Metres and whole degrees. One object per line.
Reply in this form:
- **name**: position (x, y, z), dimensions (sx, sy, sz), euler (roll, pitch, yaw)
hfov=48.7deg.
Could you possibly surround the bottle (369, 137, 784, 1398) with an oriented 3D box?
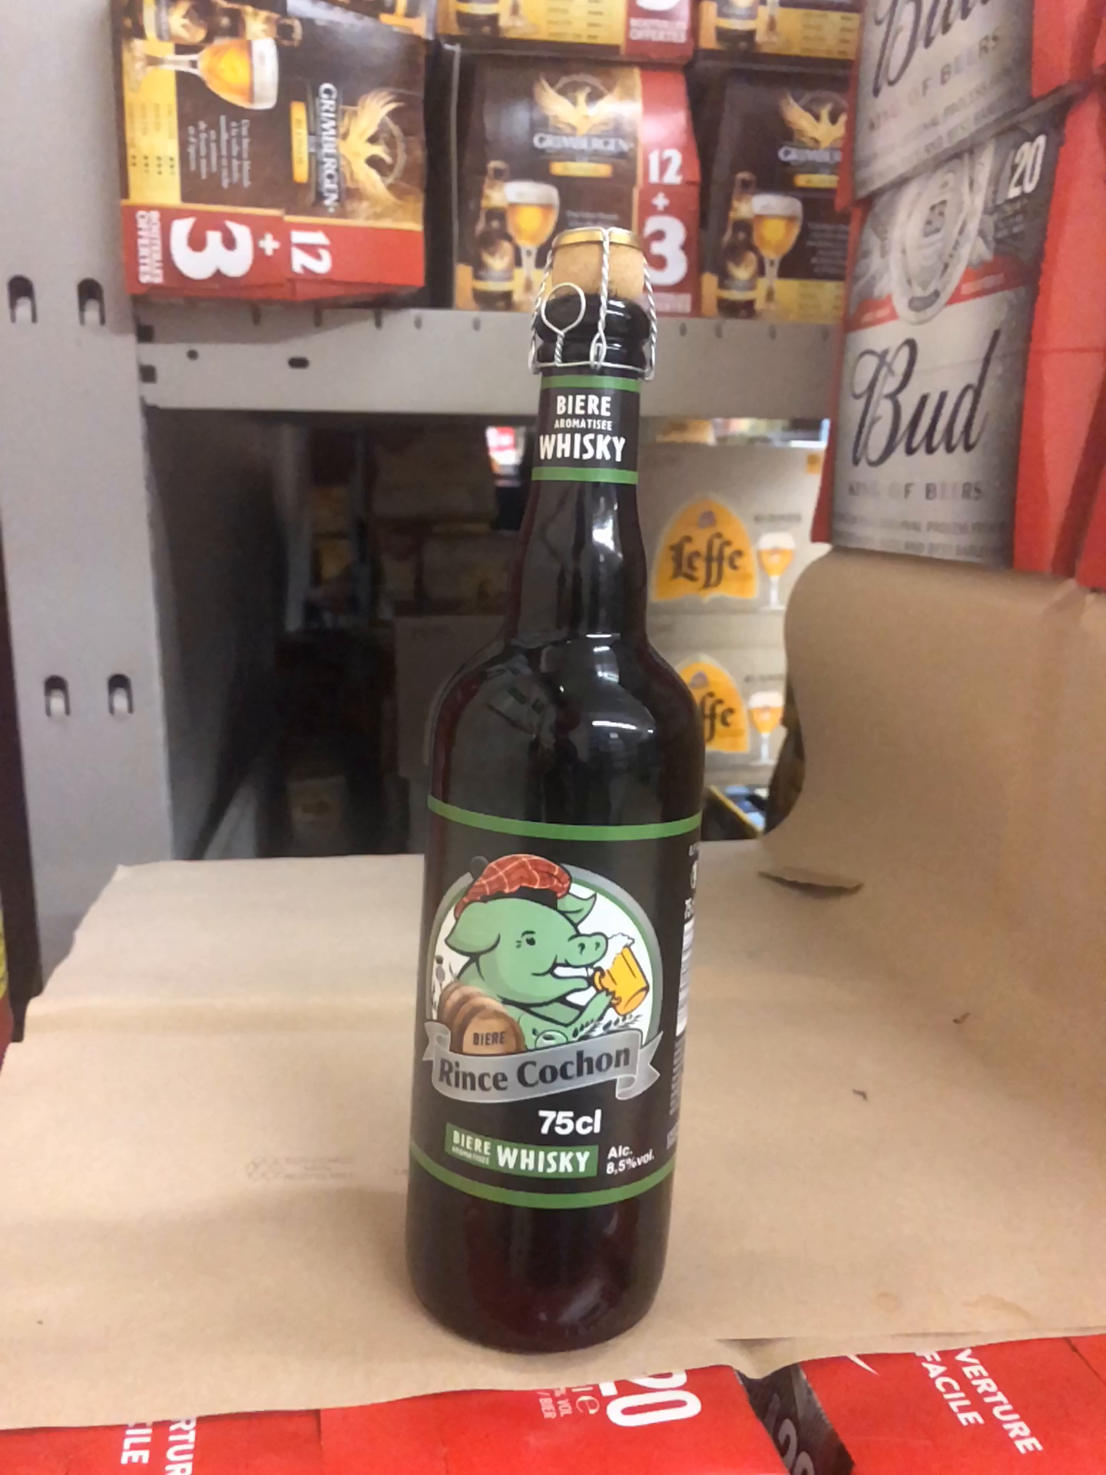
- **bottle**: position (0.003, 0.010, 0.330), dimensions (0.090, 0.300, 0.080), euler (2, 6, 0)
